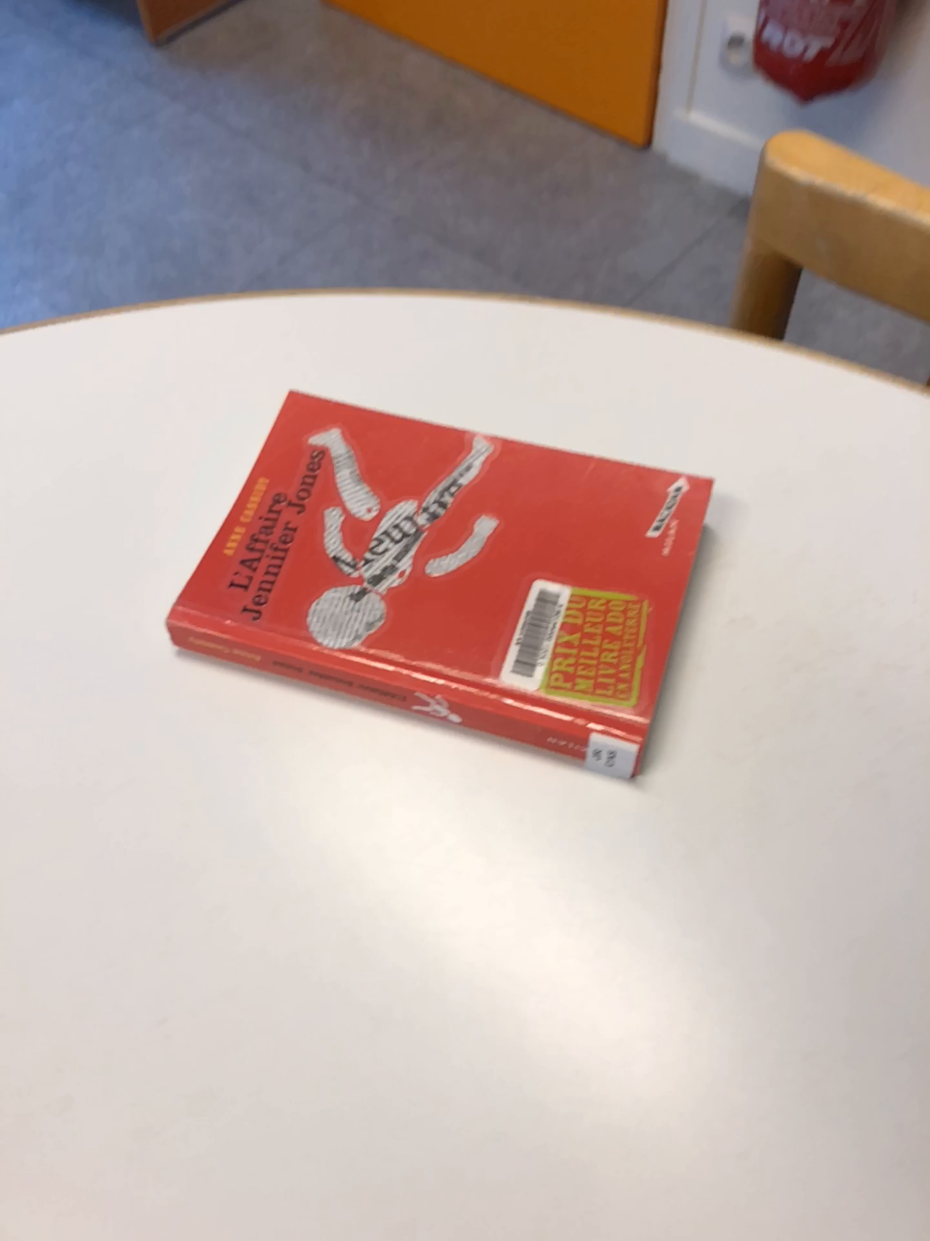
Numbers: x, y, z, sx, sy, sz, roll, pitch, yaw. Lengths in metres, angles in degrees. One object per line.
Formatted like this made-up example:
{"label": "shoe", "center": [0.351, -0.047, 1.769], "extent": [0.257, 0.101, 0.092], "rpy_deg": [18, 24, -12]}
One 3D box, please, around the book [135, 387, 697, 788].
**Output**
{"label": "book", "center": [-0.017, -0.023, 0.443], "extent": [0.202, 0.027, 0.137], "rpy_deg": [14, 61, 12]}
